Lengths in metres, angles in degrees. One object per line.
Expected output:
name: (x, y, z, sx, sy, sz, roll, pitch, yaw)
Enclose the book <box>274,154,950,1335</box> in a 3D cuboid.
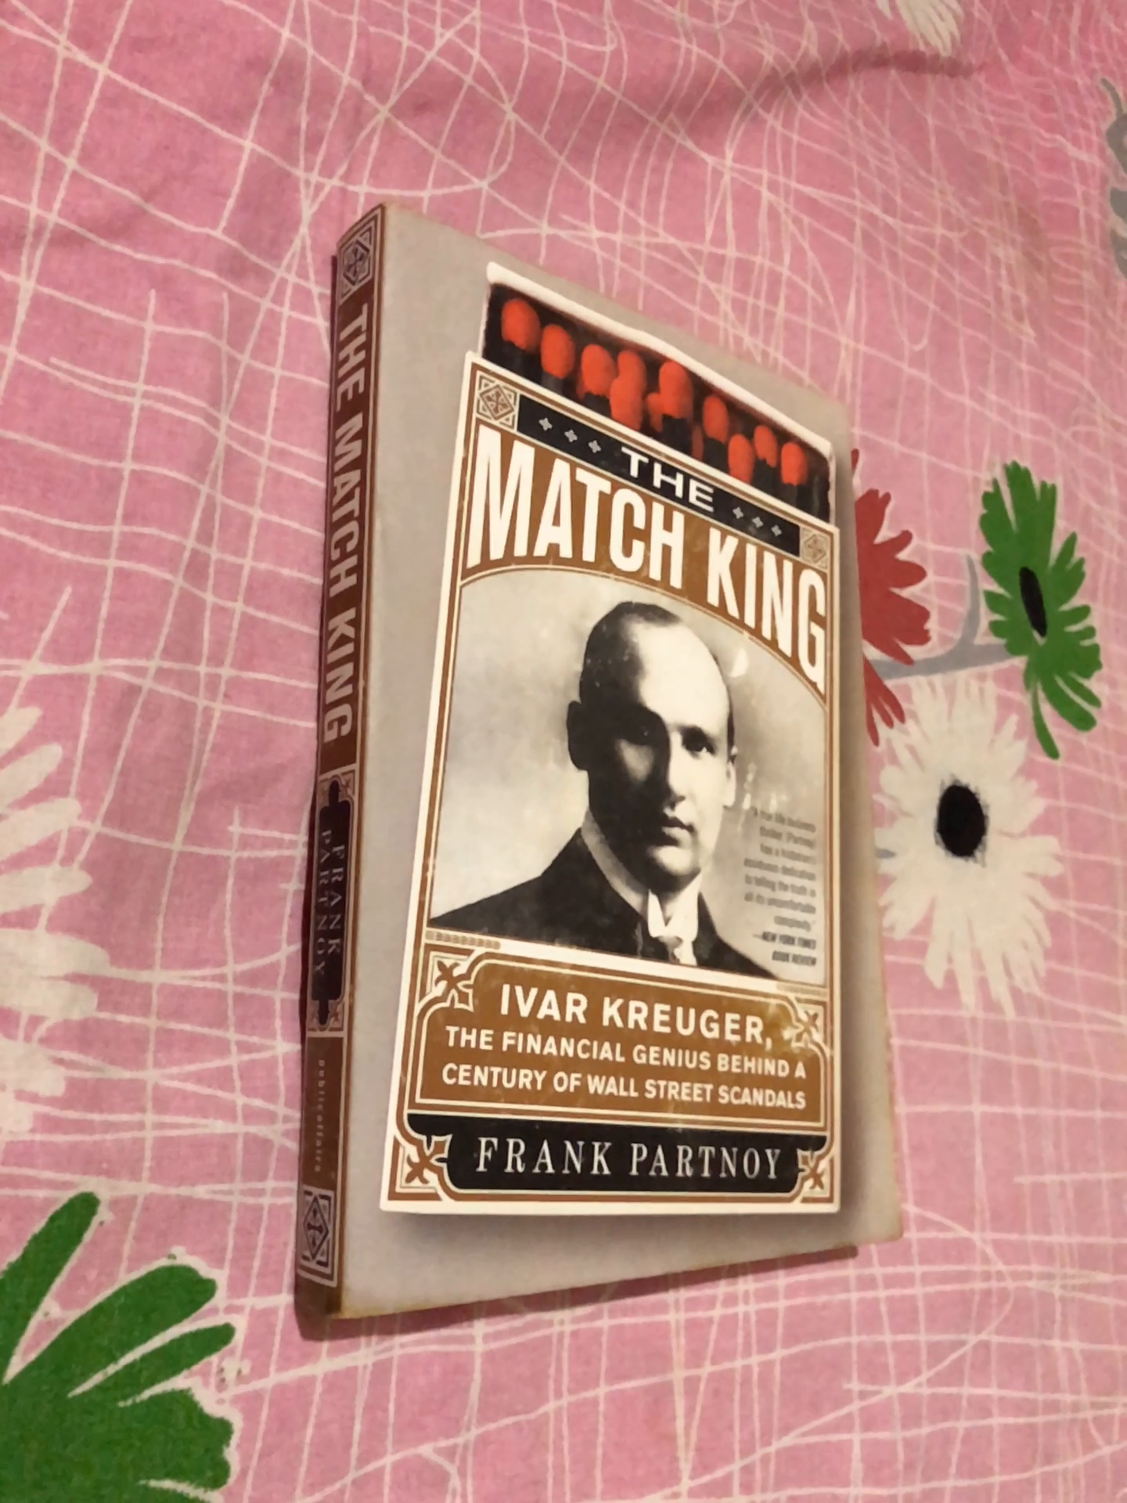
book: (0.014, -0.002, 0.301, 0.161, 0.030, 0.240, 12, 66, -37)
